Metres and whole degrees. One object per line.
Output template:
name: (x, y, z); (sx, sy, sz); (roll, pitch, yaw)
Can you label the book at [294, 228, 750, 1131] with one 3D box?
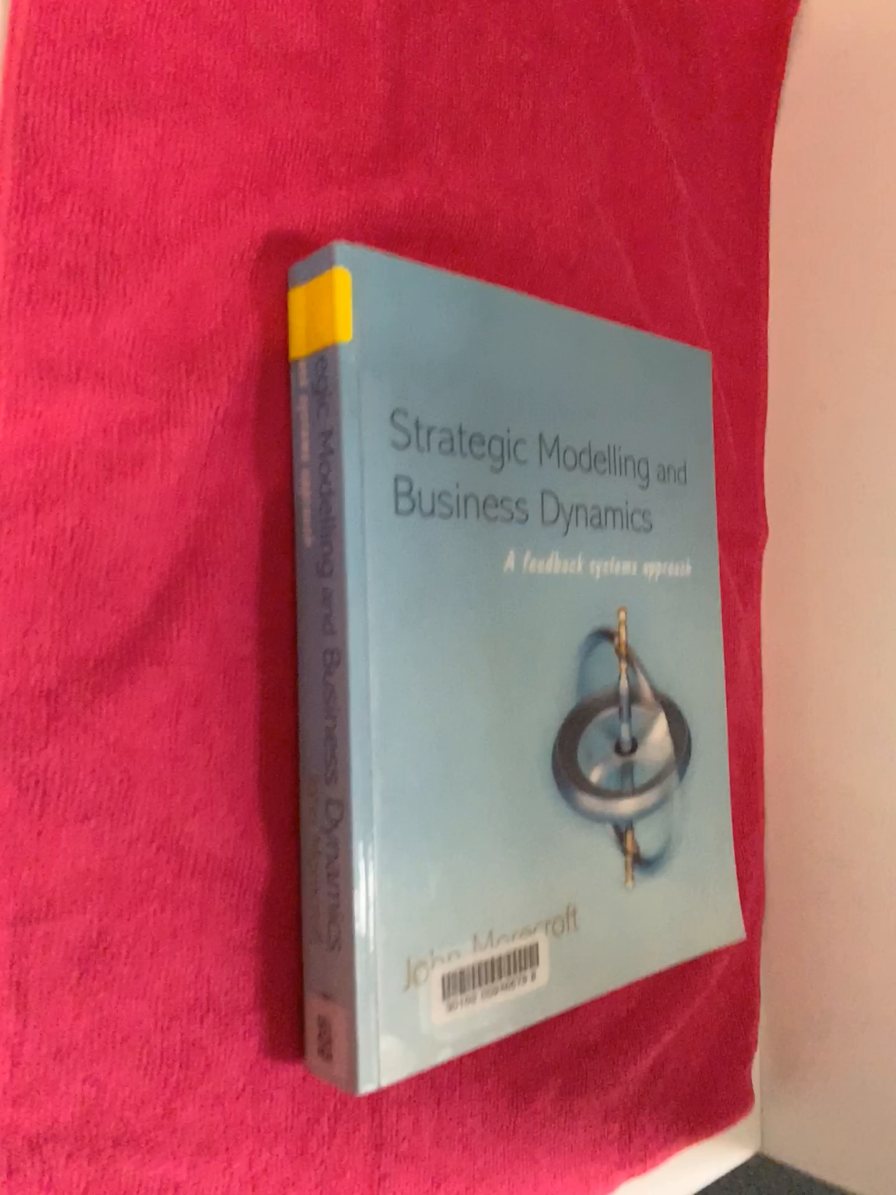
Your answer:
book: (0.038, 0.022, 0.331); (0.194, 0.033, 0.250); (2, 86, -41)
